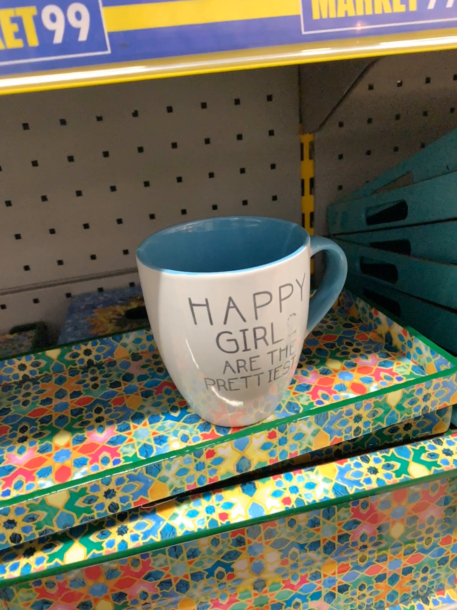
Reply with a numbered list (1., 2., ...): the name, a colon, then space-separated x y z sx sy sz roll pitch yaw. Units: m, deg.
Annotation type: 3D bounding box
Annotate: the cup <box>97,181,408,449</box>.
1. cup: 0.015 -0.010 0.312 0.150 0.100 0.120 -20 29 -27
